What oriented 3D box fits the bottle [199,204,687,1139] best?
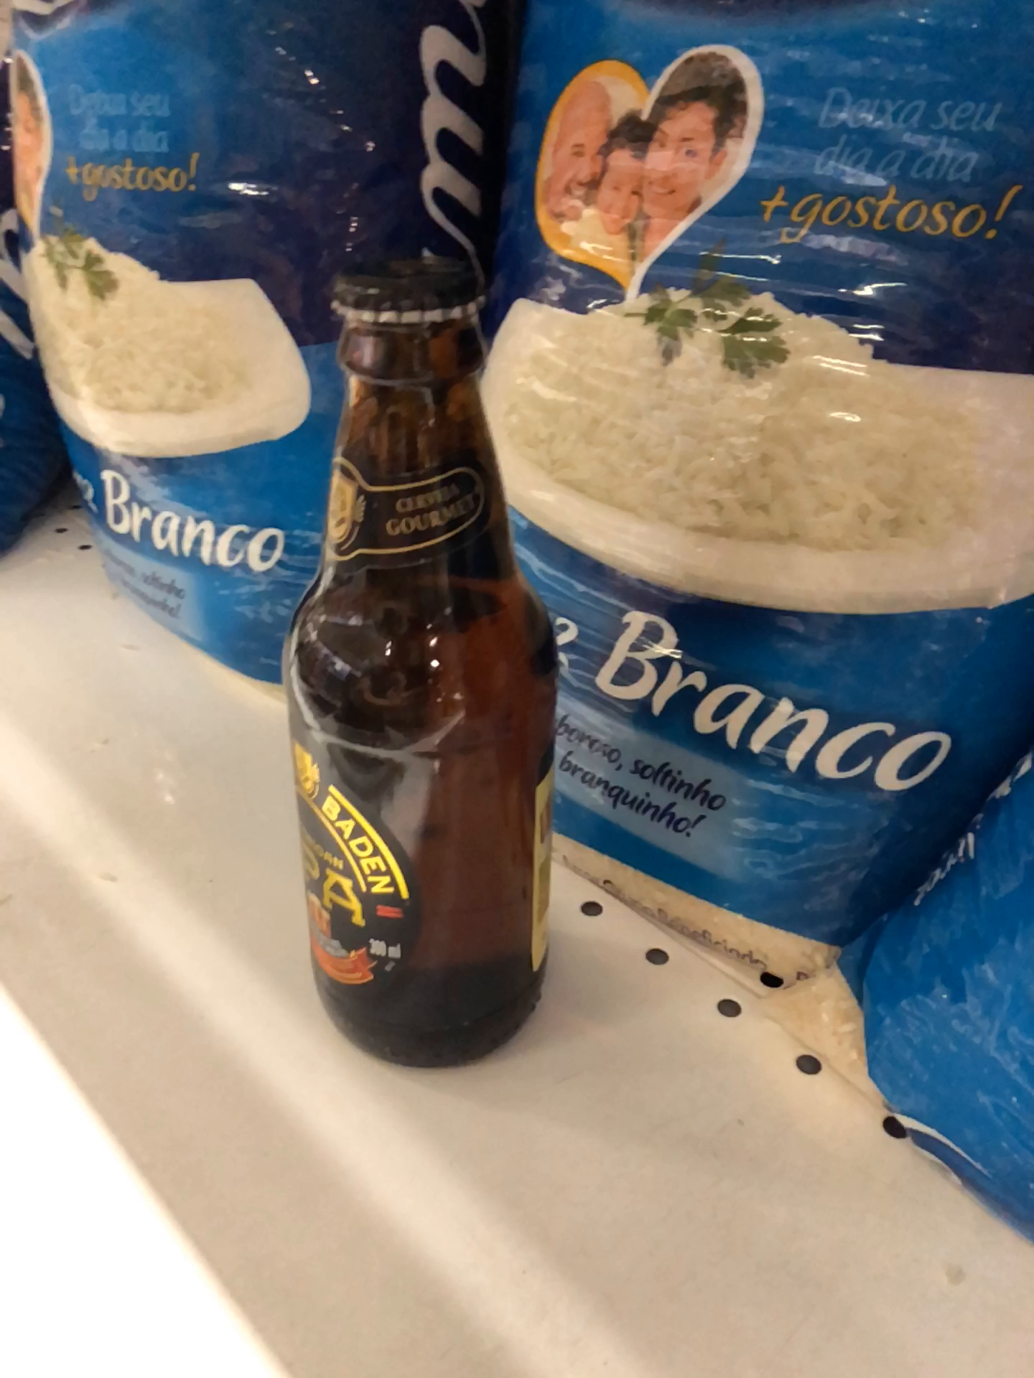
[{"bbox_3d":[-0.016,0.001,0.257,0.060,0.188,0.070,-20,38,-29],"label":"bottle"}]
